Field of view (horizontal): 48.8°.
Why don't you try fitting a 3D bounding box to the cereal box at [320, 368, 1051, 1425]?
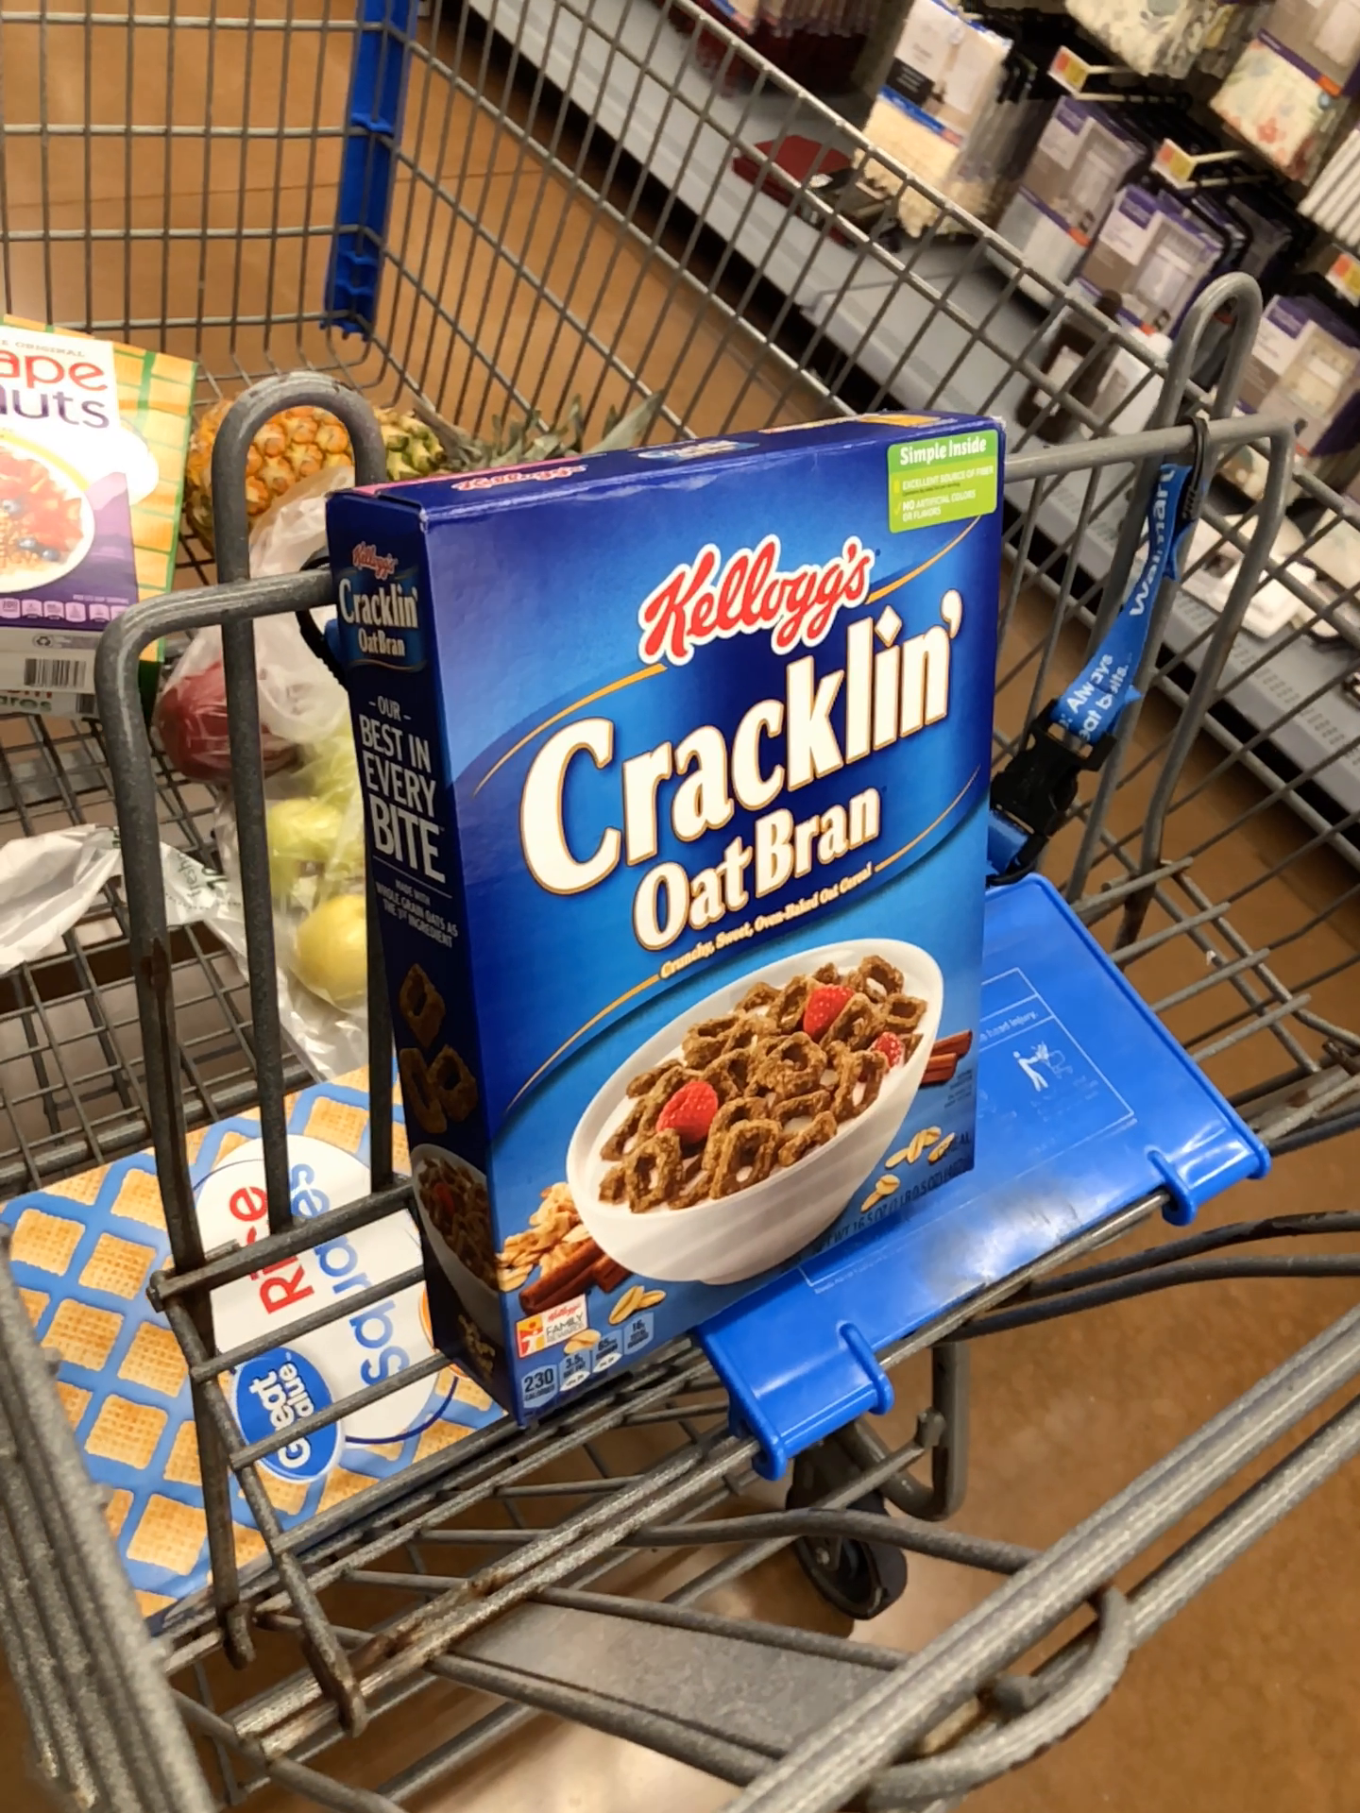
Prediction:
[{"bbox_3d":[0.017,-0.011,0.438,0.200,0.260,0.050,-20,28,-33],"label":"cereal box"}]
